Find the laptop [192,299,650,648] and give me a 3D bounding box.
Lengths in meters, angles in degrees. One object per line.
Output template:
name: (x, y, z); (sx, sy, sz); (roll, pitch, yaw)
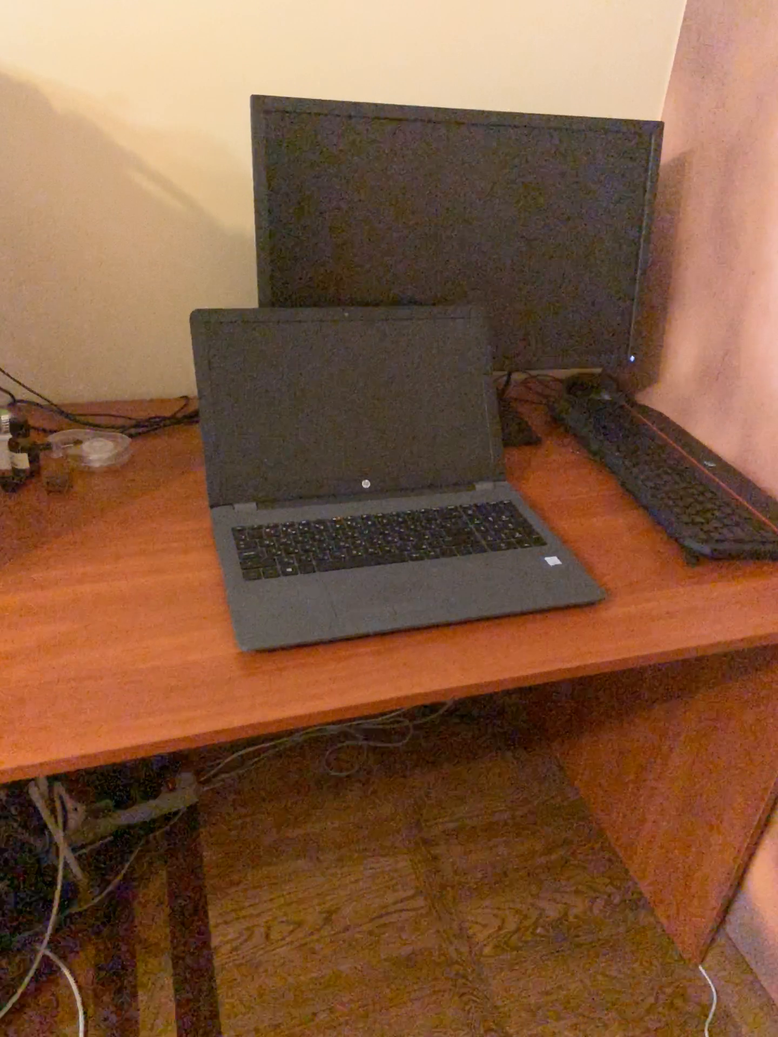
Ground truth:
laptop: (-0.003, -0.083, 0.847); (0.366, 0.181, 0.376); (-6, 33, -17)
